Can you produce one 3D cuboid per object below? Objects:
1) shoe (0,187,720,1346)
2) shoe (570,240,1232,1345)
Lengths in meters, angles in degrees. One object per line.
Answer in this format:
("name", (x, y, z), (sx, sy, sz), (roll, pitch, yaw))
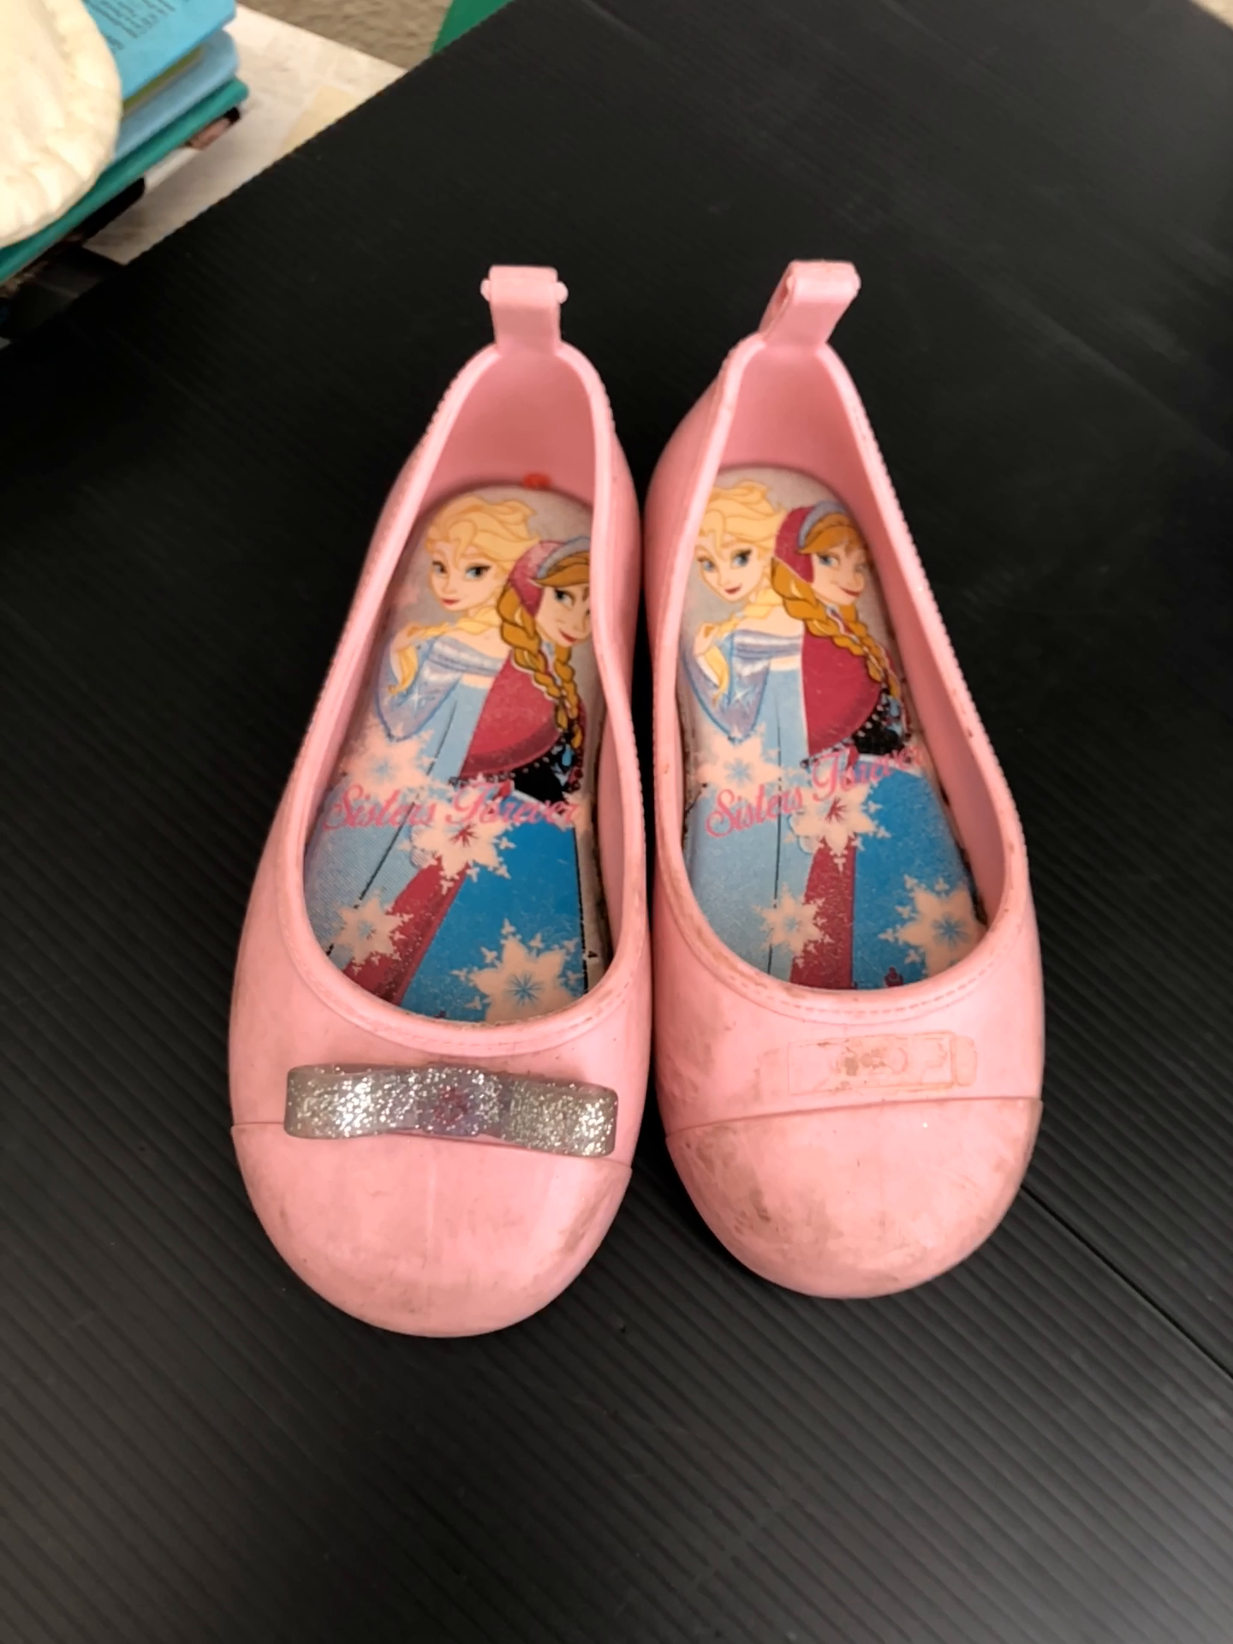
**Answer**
("shoe", (-0.032, -0.006, 0.221), (0.077, 0.070, 0.160), (6, 71, -7))
("shoe", (0.037, -0.003, 0.228), (0.077, 0.070, 0.160), (0, 72, -9))
